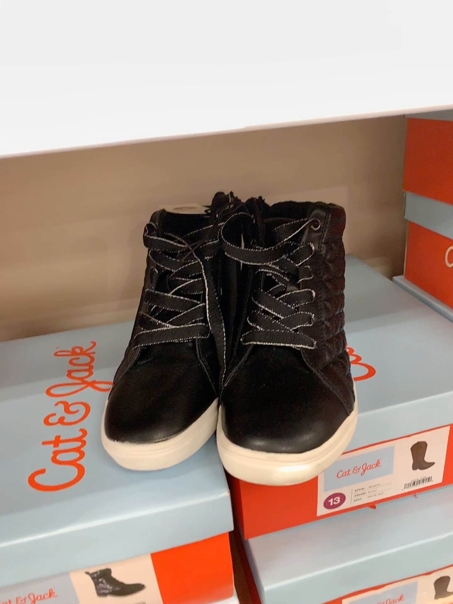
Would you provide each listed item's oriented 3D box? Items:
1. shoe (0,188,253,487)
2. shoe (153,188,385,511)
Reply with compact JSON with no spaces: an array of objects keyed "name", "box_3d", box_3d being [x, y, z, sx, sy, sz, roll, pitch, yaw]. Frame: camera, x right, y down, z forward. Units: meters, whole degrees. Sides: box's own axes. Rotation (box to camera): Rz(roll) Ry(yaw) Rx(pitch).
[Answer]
[{"name":"shoe","box_3d":[-0.046,0.003,0.361,0.100,0.119,0.231,0,27,11]},{"name":"shoe","box_3d":[0.040,0.005,0.327,0.100,0.109,0.231,0,27,11]}]
